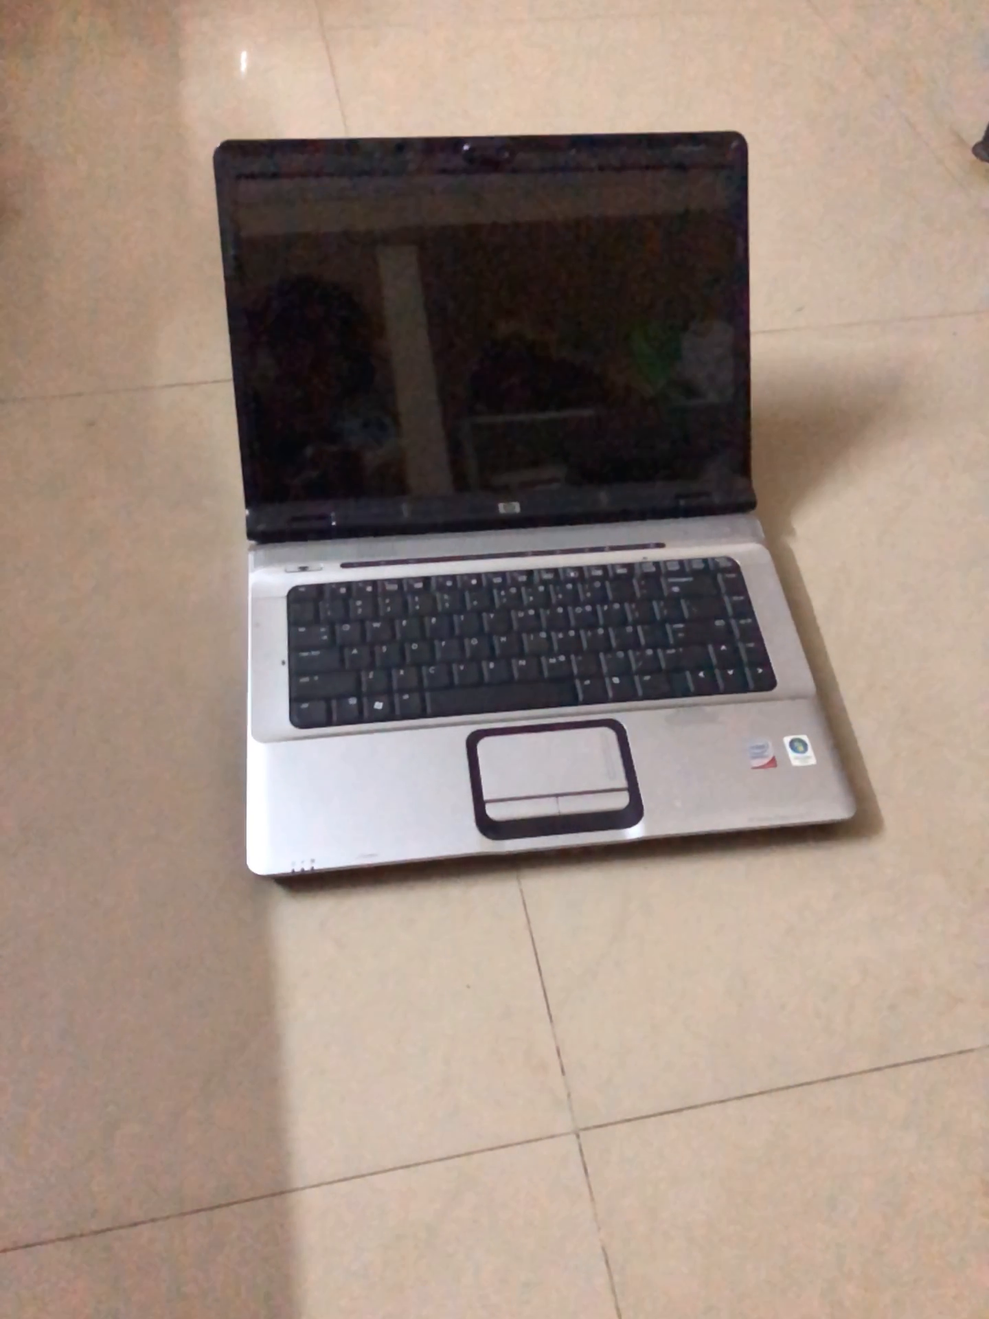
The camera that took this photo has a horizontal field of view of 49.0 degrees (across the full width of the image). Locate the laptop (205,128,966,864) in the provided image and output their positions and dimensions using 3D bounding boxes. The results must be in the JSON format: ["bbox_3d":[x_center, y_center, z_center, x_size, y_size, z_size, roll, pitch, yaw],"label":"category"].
[{"bbox_3d":[0.018,-0.120,0.652,0.338,0.166,0.411,-4,56,-7],"label":"laptop"}]
